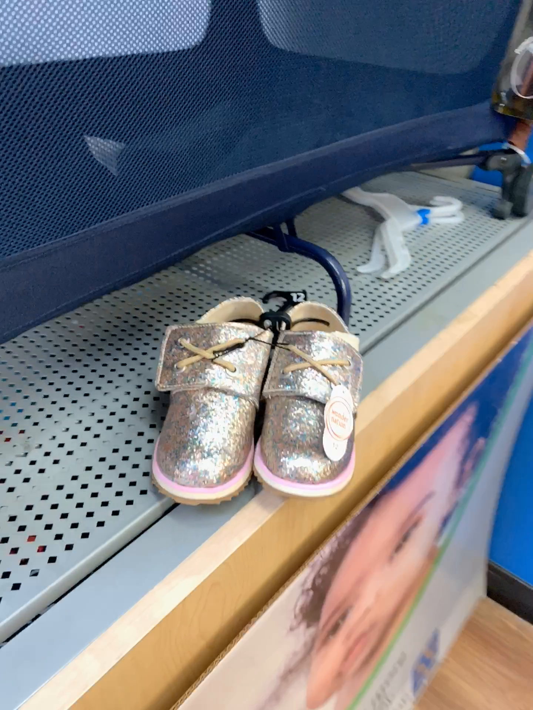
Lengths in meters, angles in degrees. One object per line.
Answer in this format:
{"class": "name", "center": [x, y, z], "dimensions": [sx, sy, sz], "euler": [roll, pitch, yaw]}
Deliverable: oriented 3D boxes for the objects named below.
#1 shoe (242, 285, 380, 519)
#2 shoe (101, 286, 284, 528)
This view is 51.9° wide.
{"class": "shoe", "center": [0.040, 0.024, 0.444], "dimensions": [0.086, 0.060, 0.206], "euler": [6, 36, 4]}
{"class": "shoe", "center": [-0.046, 0.027, 0.441], "dimensions": [0.083, 0.070, 0.200], "euler": [8, 37, 8]}
